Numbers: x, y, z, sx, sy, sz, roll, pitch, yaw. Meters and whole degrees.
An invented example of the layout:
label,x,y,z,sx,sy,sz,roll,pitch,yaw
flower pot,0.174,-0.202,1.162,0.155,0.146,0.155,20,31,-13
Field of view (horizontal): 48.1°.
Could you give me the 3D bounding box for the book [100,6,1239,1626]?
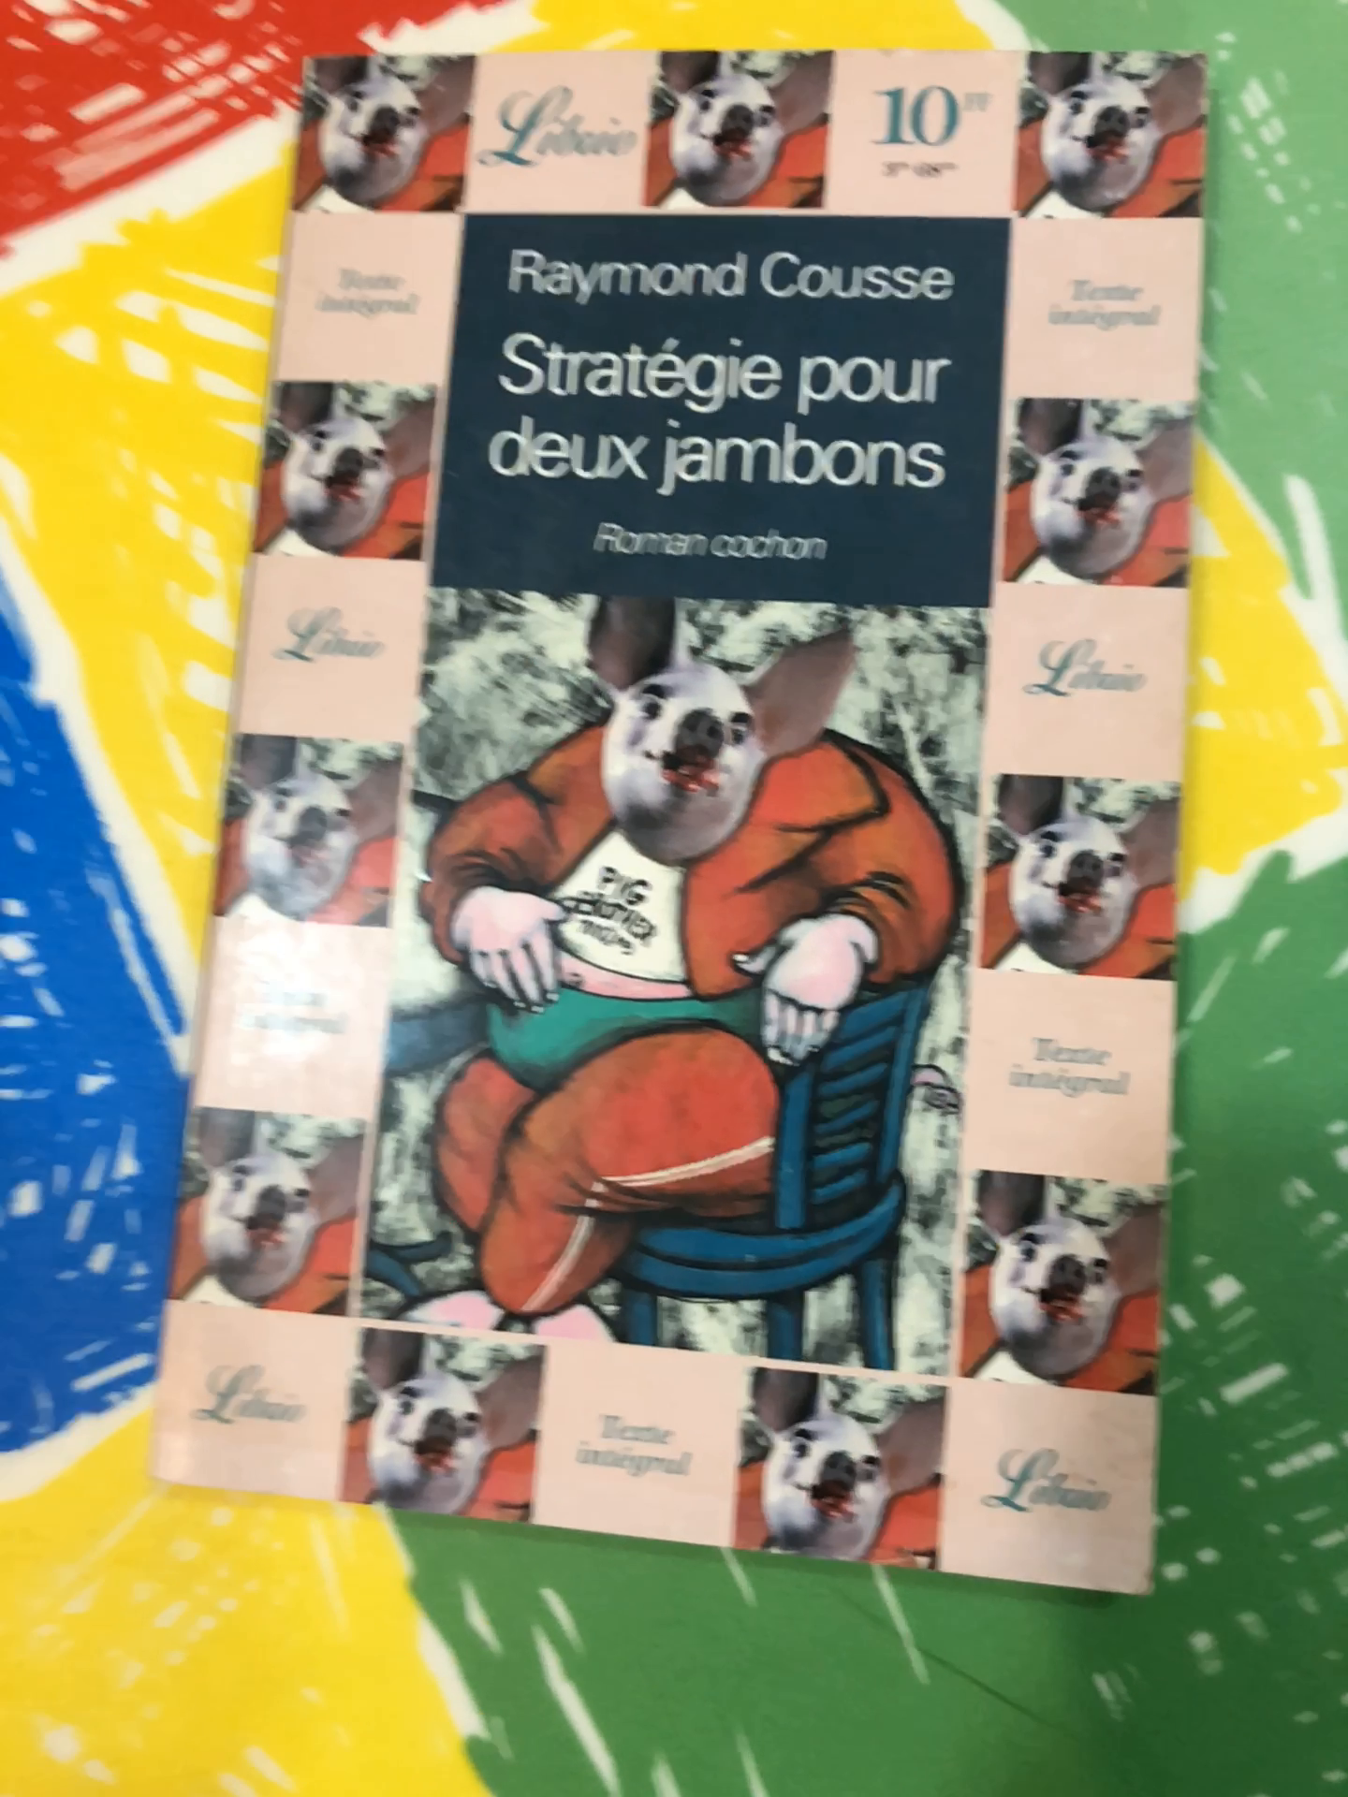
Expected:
label,x,y,z,sx,sy,sz,roll,pitch,yaw
book,0.001,-0.019,0.196,0.130,0.014,0.197,3,84,7
